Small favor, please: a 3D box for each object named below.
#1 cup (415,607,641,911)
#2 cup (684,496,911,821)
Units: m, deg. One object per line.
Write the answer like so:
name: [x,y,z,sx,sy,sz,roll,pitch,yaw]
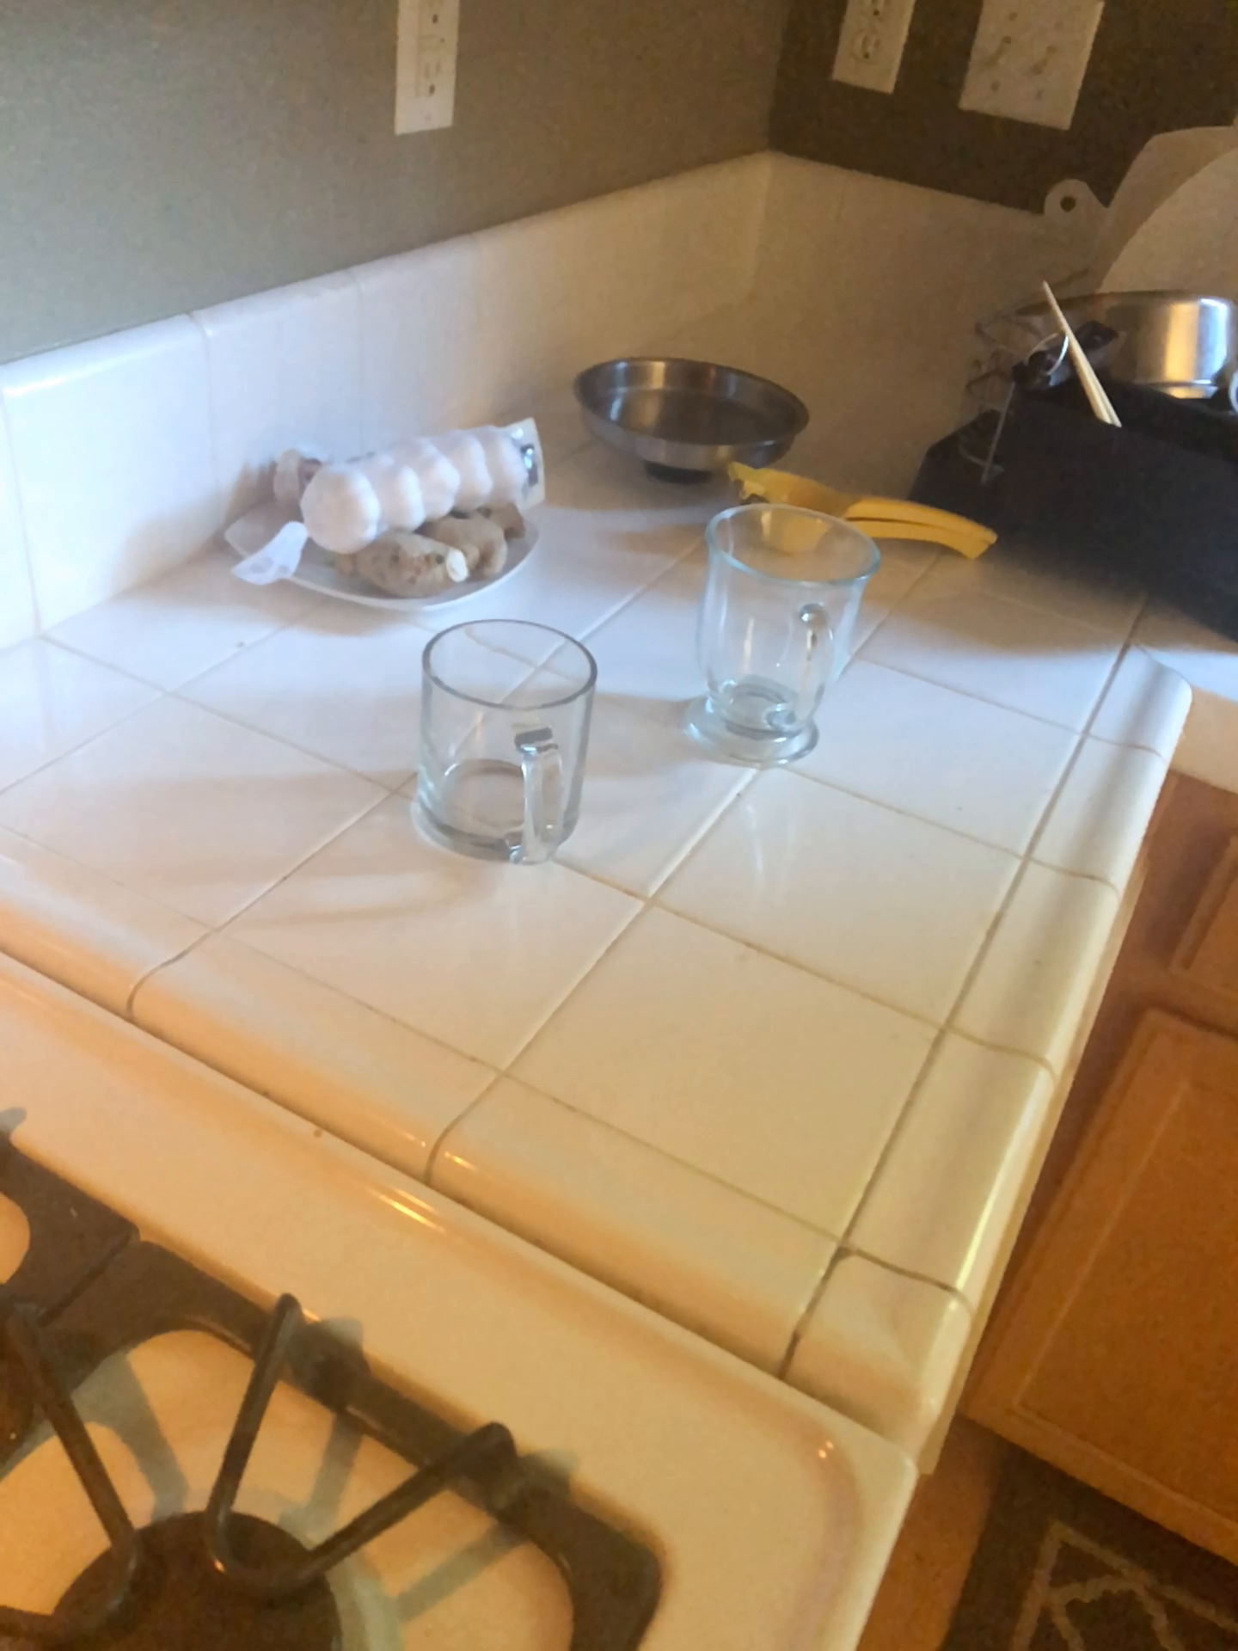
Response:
cup: [-0.051,-0.035,0.674,0.090,0.089,0.131,0,37,-12]
cup: [0.092,-0.094,0.754,0.090,0.119,0.131,6,37,-4]
